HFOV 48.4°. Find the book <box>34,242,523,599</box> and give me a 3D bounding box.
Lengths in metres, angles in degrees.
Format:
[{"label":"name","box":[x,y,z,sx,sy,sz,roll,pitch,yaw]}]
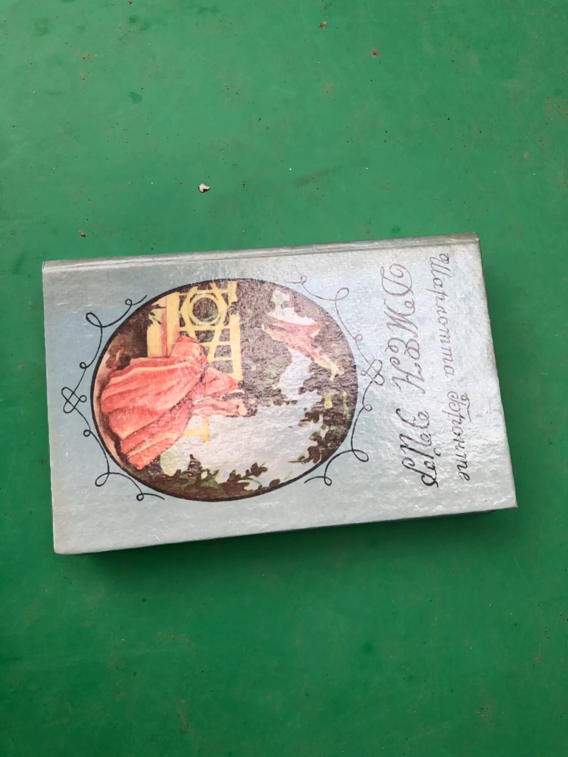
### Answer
[{"label":"book","box":[-0.005,0.015,0.282,0.196,0.030,0.135,-5,81,-4]}]
